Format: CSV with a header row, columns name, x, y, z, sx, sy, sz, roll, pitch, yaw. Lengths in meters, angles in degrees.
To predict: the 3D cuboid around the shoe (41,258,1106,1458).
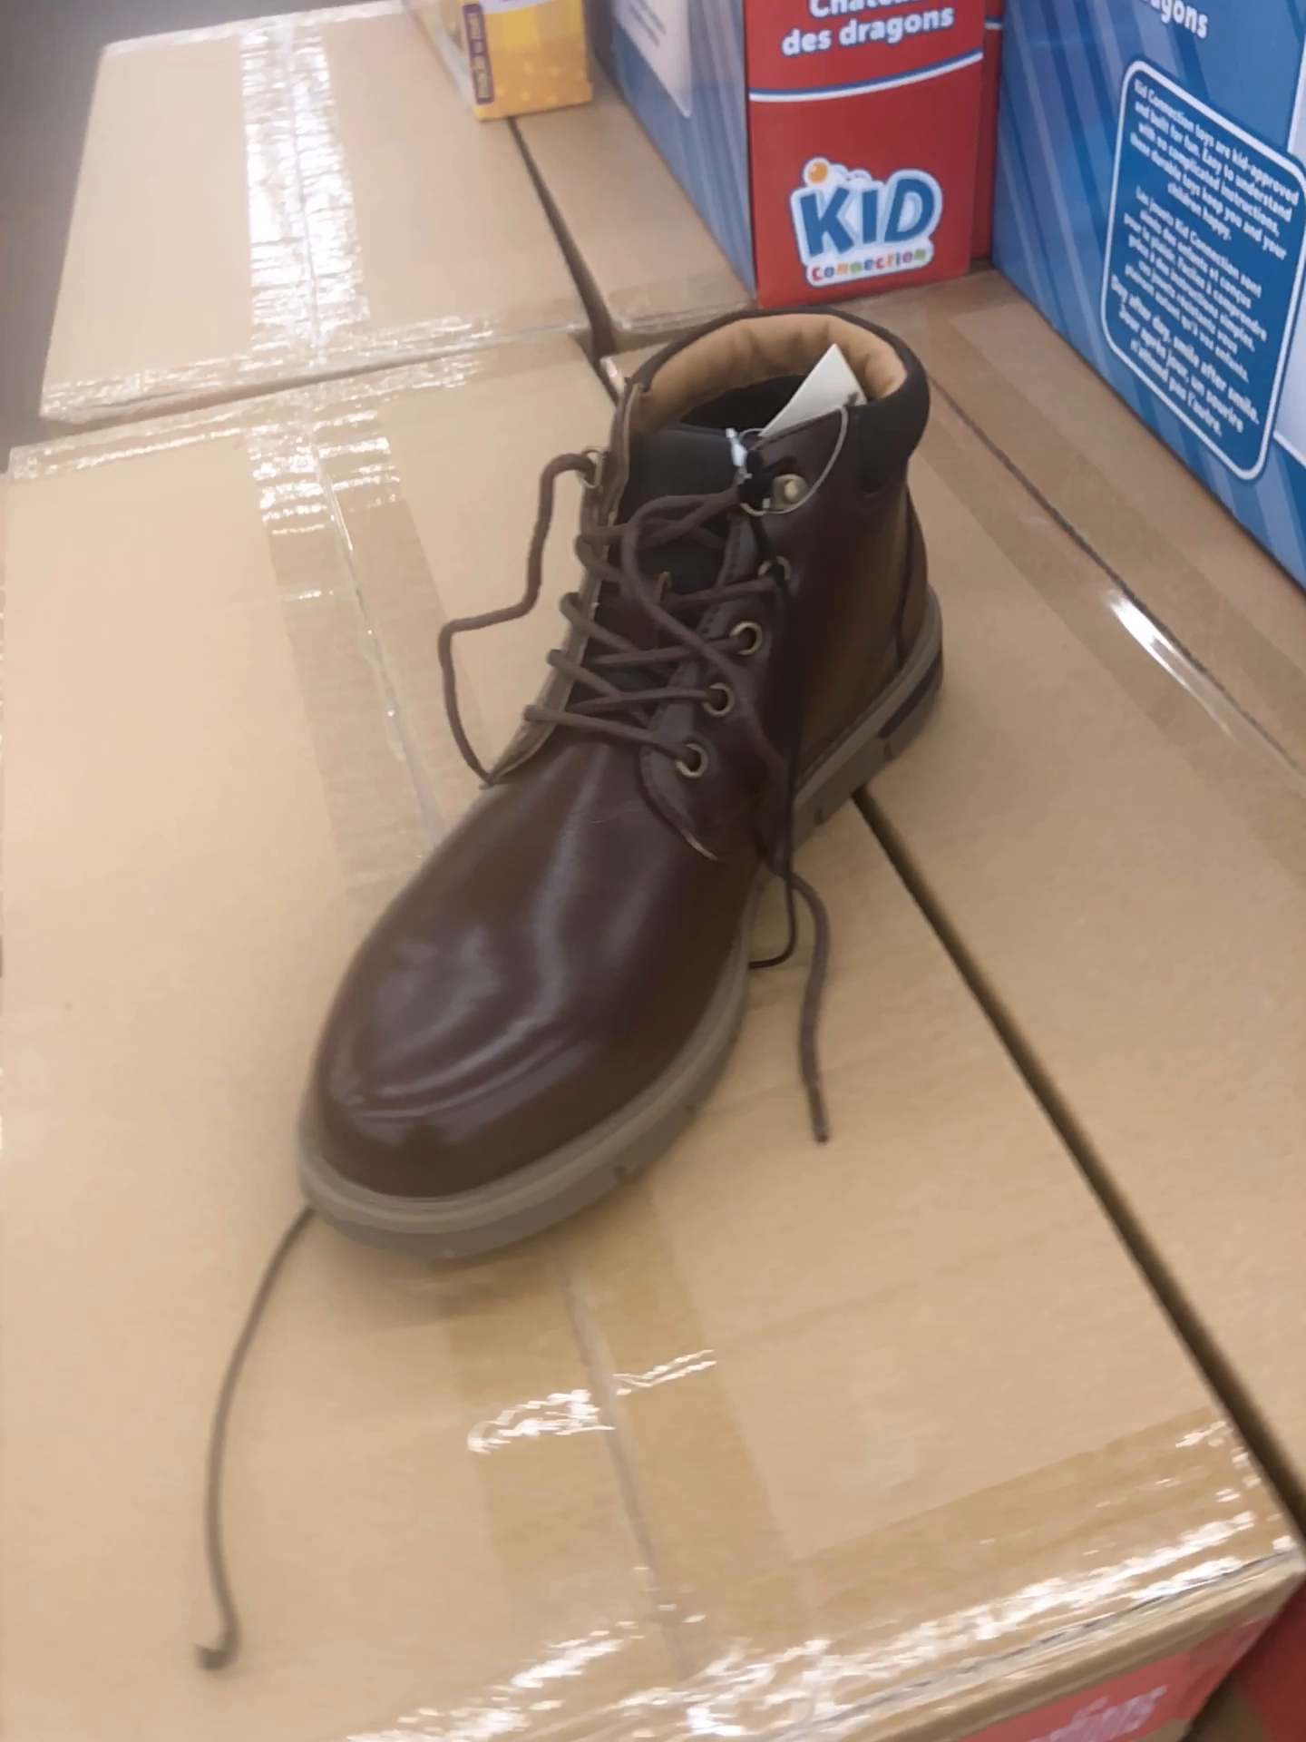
name,x,y,z,sx,sy,sz,roll,pitch,yaw
shoe,0.009,-0.025,0.406,0.120,0.159,0.291,20,51,24
